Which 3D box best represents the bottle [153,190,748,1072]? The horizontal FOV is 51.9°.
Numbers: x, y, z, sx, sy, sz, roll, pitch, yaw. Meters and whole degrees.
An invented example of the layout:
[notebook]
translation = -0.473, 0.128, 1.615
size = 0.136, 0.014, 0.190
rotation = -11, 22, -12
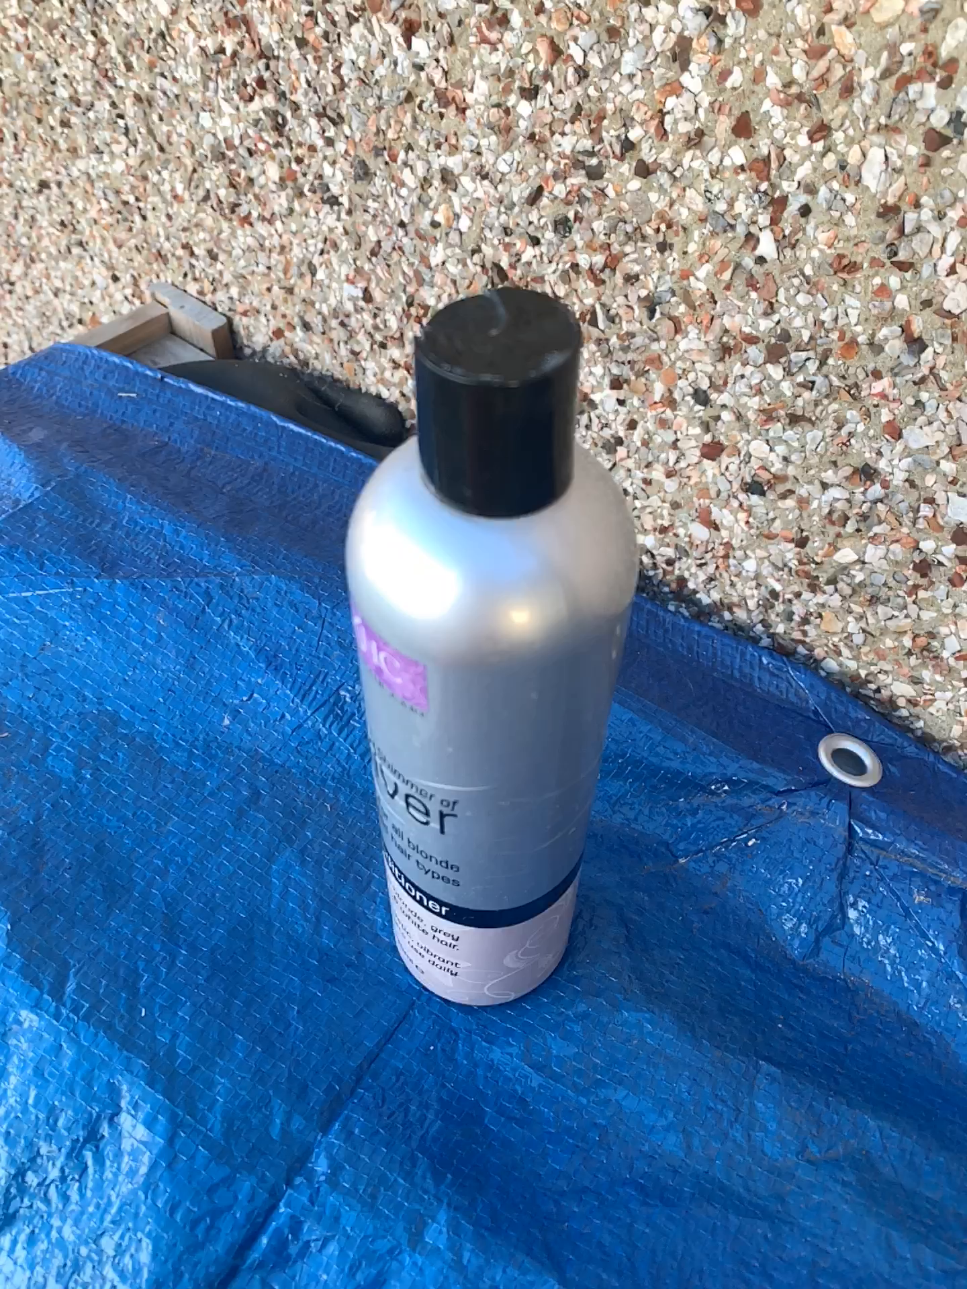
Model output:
[bottle]
translation = -0.006, 0.018, 0.224
size = 0.060, 0.198, 0.070
rotation = -29, 55, -21
